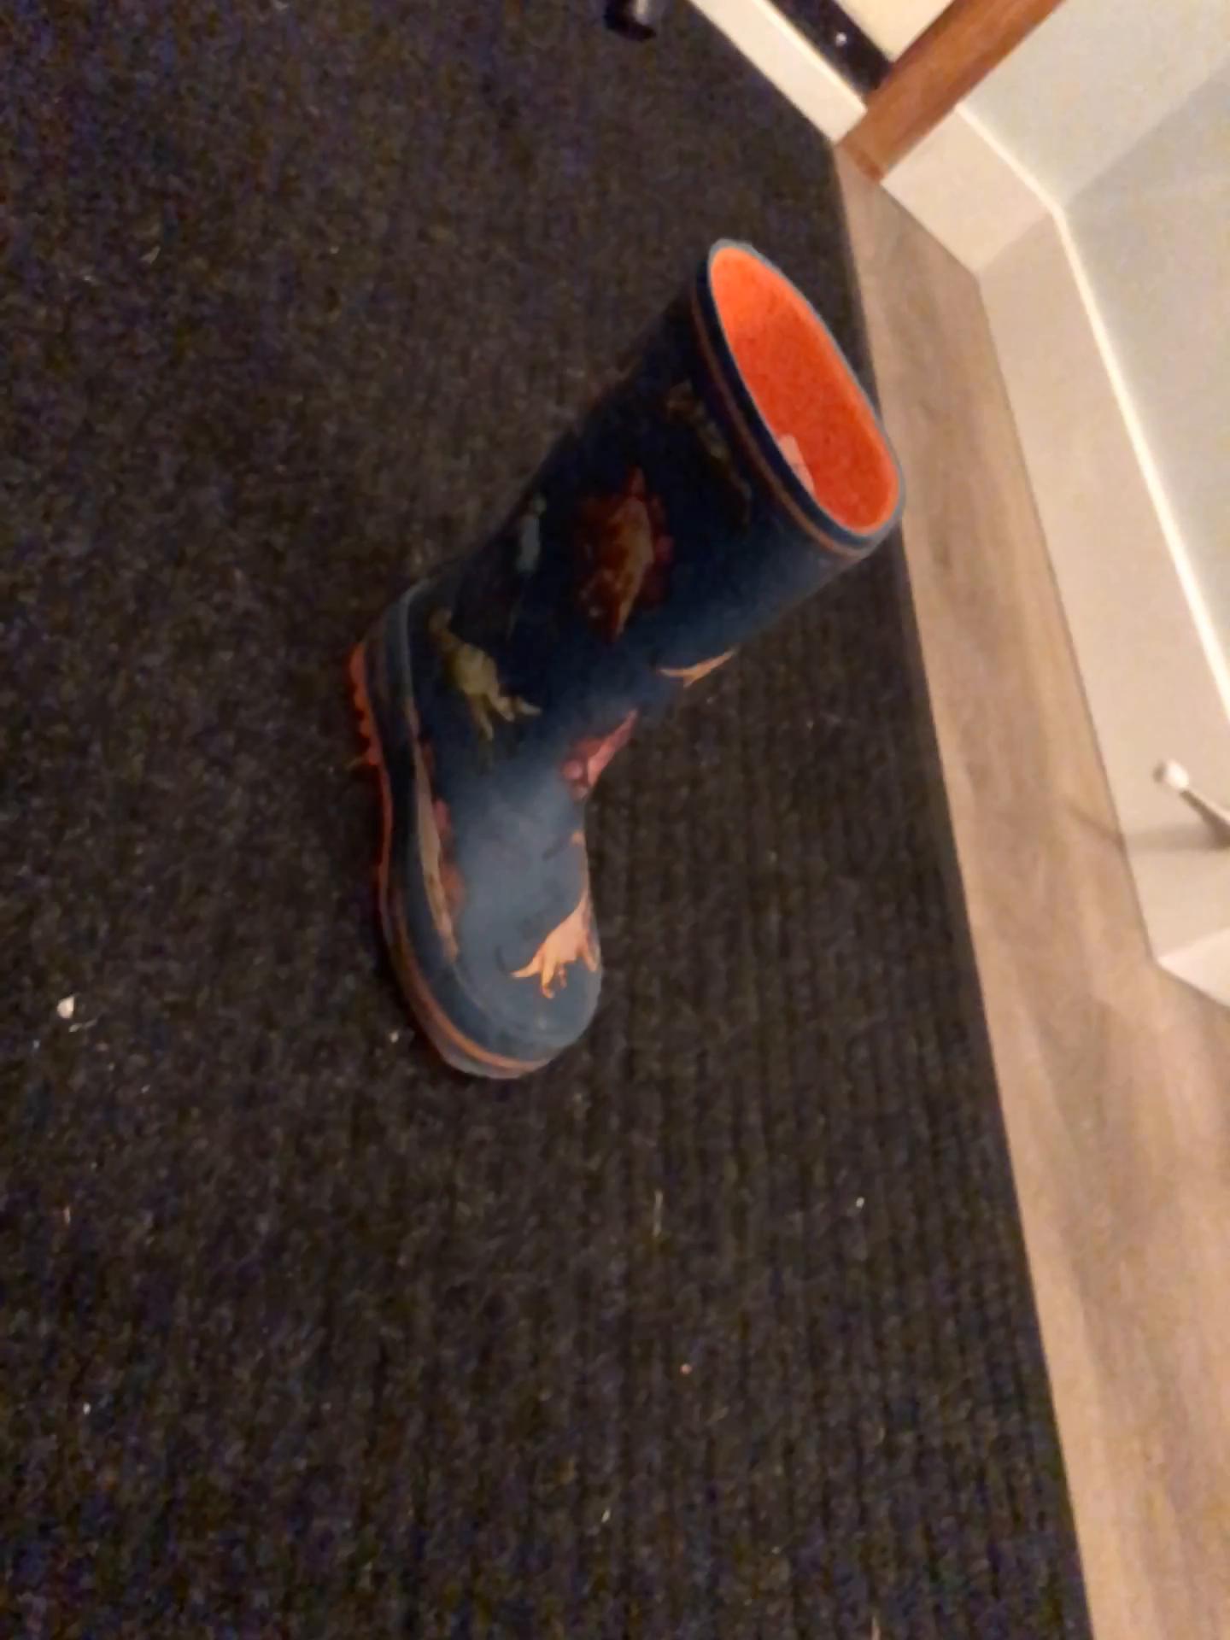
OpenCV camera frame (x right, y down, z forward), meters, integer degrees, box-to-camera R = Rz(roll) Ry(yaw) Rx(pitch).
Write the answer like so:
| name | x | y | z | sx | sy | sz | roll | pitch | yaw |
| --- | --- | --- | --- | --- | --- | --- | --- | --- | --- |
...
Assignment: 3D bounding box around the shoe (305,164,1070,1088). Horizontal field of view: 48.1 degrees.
| name | x | y | z | sx | sy | sz | roll | pitch | yaw |
| --- | --- | --- | --- | --- | --- | --- | --- | --- | --- |
| shoe | 0.003 | -0.045 | 0.407 | 0.080 | 0.179 | 0.190 | 12 | 53 | -43 |
